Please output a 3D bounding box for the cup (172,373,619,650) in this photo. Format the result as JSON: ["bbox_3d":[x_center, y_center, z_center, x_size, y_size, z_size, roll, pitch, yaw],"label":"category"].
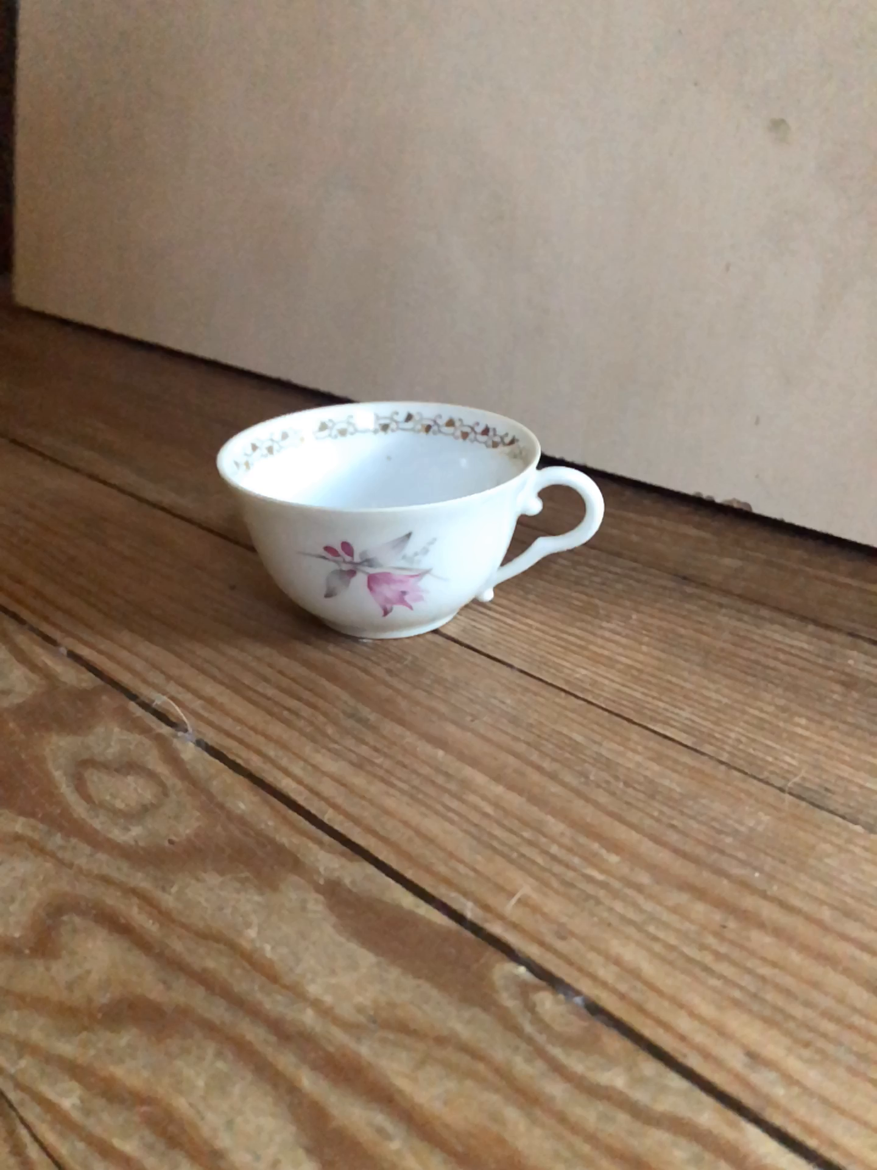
[{"bbox_3d":[-0.005,-0.024,0.260,0.100,0.040,0.081,3,28,7],"label":"cup"}]
